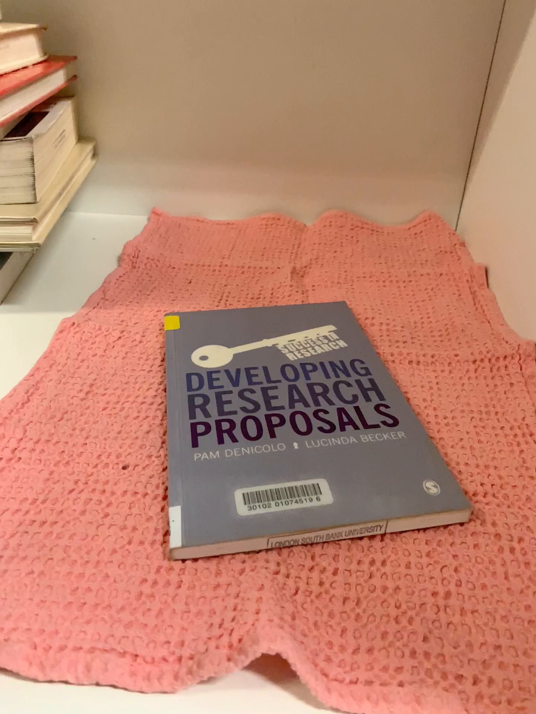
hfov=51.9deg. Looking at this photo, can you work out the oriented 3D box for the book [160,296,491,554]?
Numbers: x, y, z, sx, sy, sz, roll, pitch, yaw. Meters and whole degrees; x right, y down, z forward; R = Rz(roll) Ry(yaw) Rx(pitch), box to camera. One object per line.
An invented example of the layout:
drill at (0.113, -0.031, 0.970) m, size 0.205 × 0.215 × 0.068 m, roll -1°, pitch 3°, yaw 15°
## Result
book at (0.014, 0.021, 0.373) m, size 0.165 × 0.015 × 0.232 m, roll -4°, pitch 33°, yaw -10°
